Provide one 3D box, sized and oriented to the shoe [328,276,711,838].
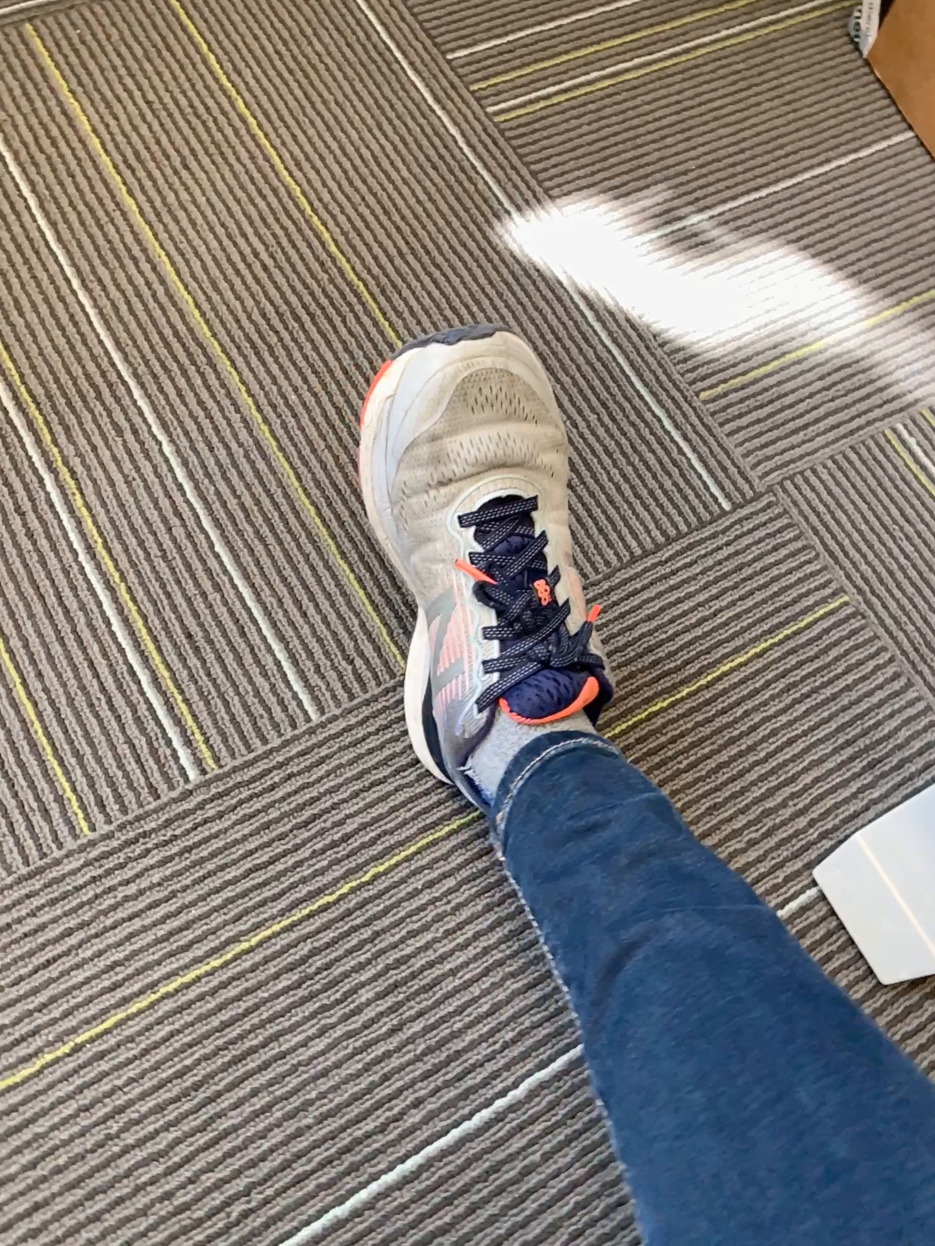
[{"bbox_3d":[0.026,-0.037,0.476,0.120,0.110,0.230,-16,110,-13],"label":"shoe"}]
